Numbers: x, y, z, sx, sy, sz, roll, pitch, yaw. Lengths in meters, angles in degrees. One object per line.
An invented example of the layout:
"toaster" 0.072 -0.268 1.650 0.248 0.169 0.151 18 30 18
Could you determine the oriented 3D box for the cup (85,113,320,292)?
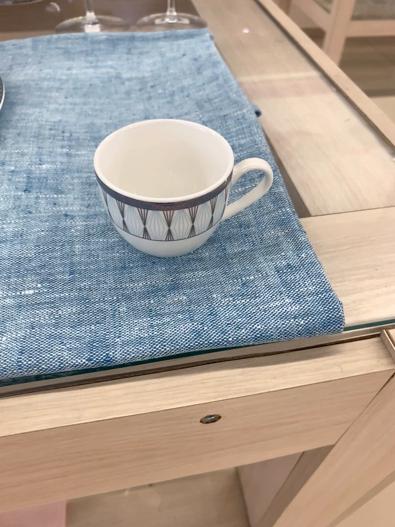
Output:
"cup" -0.003 -0.032 0.196 0.090 0.040 0.070 -8 48 -9
